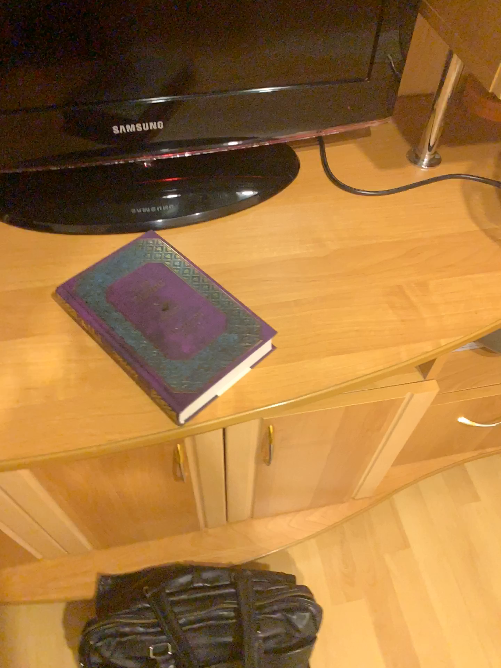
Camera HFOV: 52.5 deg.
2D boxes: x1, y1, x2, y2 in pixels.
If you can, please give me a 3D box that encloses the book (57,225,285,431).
[{"bbox_3d":[-0.083,-0.016,0.529,0.131,0.040,0.201,-38,64,-26],"label":"book"}]
